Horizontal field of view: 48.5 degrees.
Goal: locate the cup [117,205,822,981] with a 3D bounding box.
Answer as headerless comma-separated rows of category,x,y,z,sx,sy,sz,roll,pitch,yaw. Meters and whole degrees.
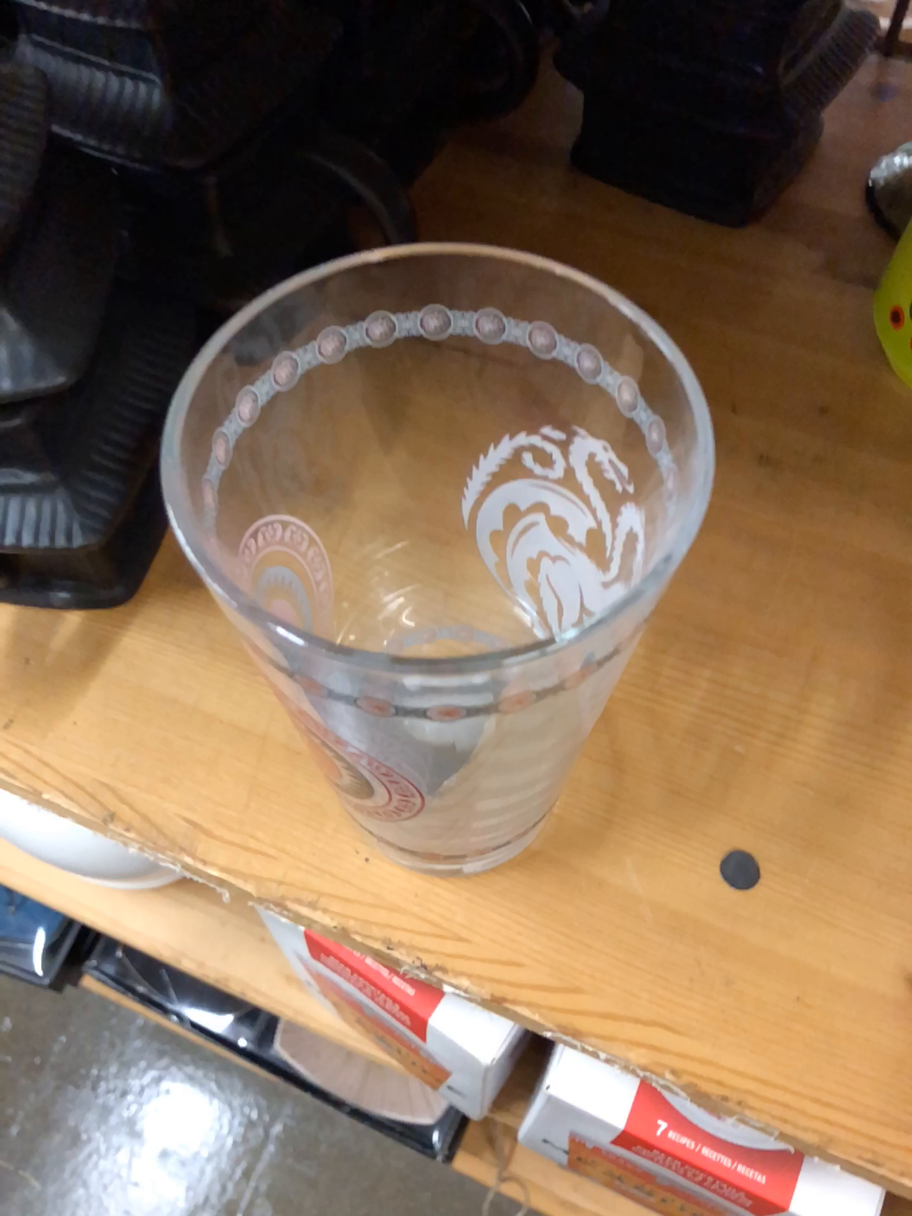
cup,-0.002,0.008,0.213,0.084,0.132,0.085,0,59,1
